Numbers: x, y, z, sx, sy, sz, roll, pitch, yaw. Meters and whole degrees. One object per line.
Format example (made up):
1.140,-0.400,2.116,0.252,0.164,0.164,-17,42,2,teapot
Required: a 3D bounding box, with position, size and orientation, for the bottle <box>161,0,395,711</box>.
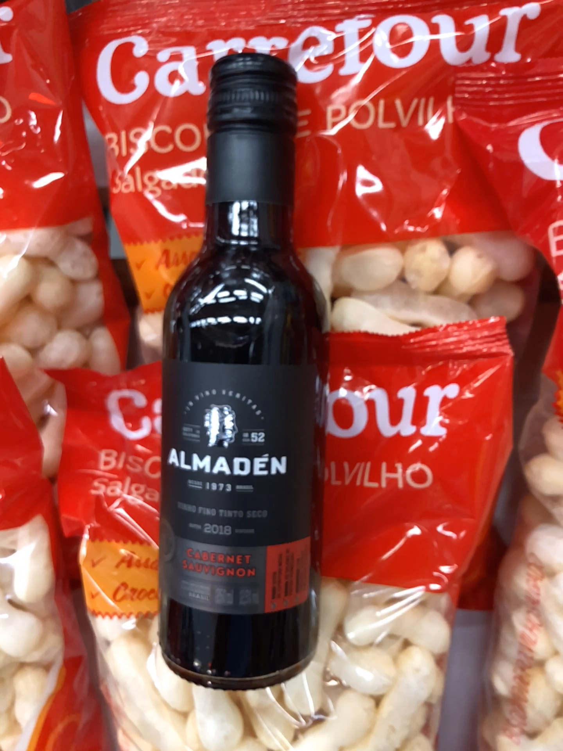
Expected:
0.001,-0.008,0.206,0.060,0.050,0.200,2,92,9,bottle
